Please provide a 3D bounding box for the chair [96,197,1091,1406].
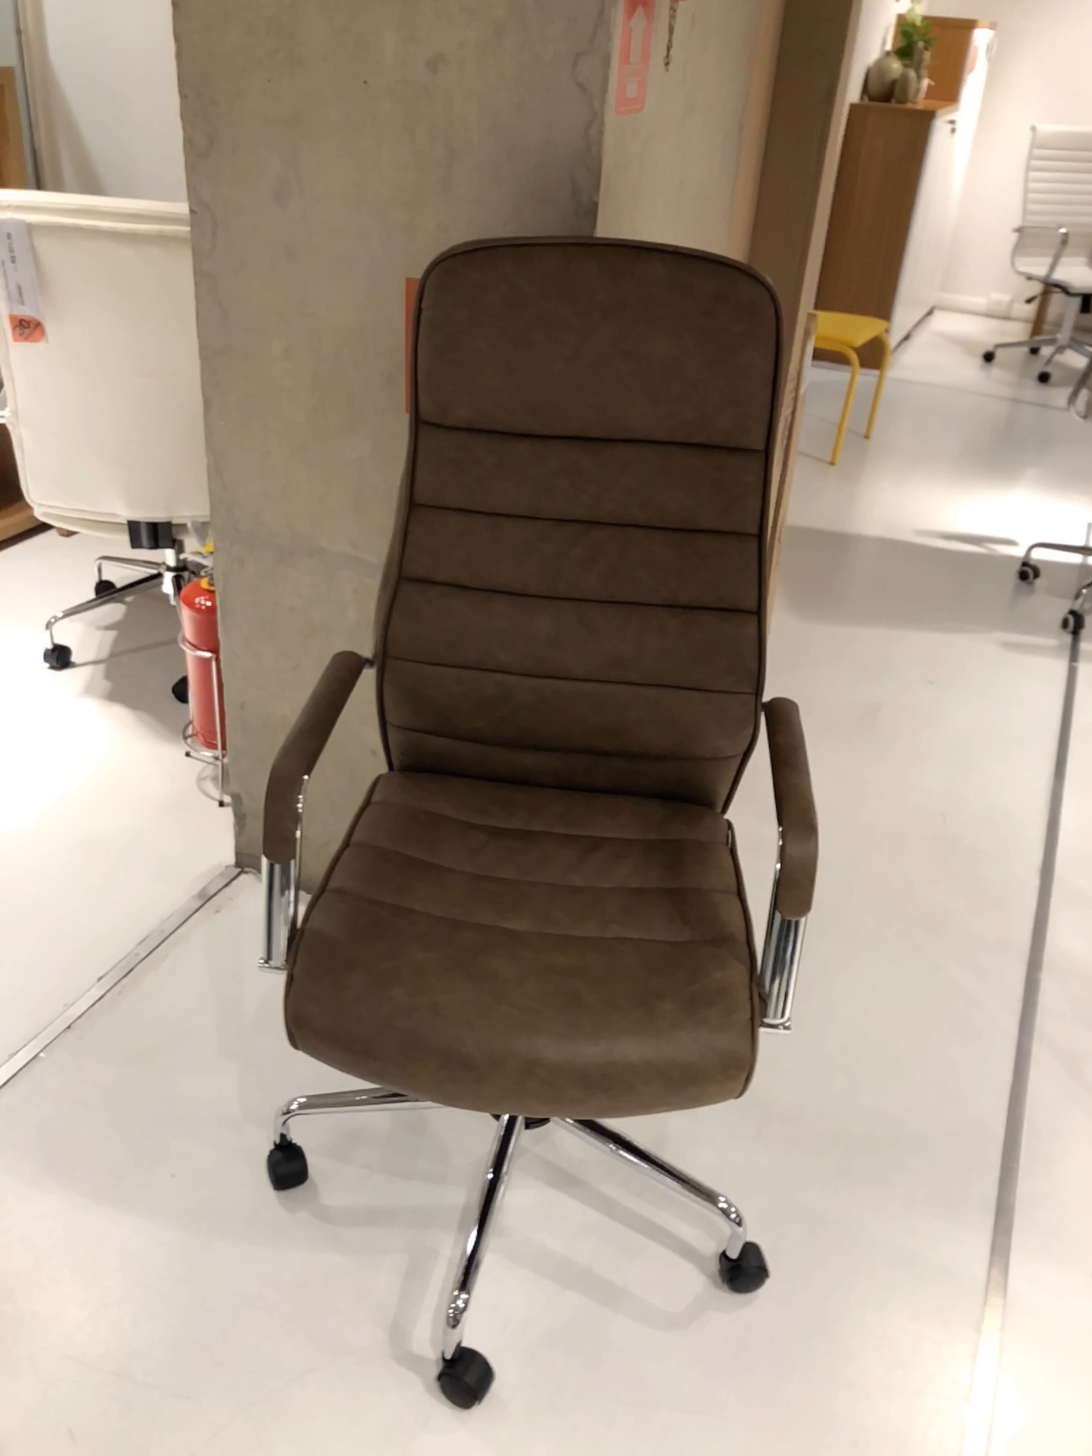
[{"bbox_3d":[0.049,0.045,1.229,0.640,0.963,0.635,8,30,5],"label":"chair"}]
